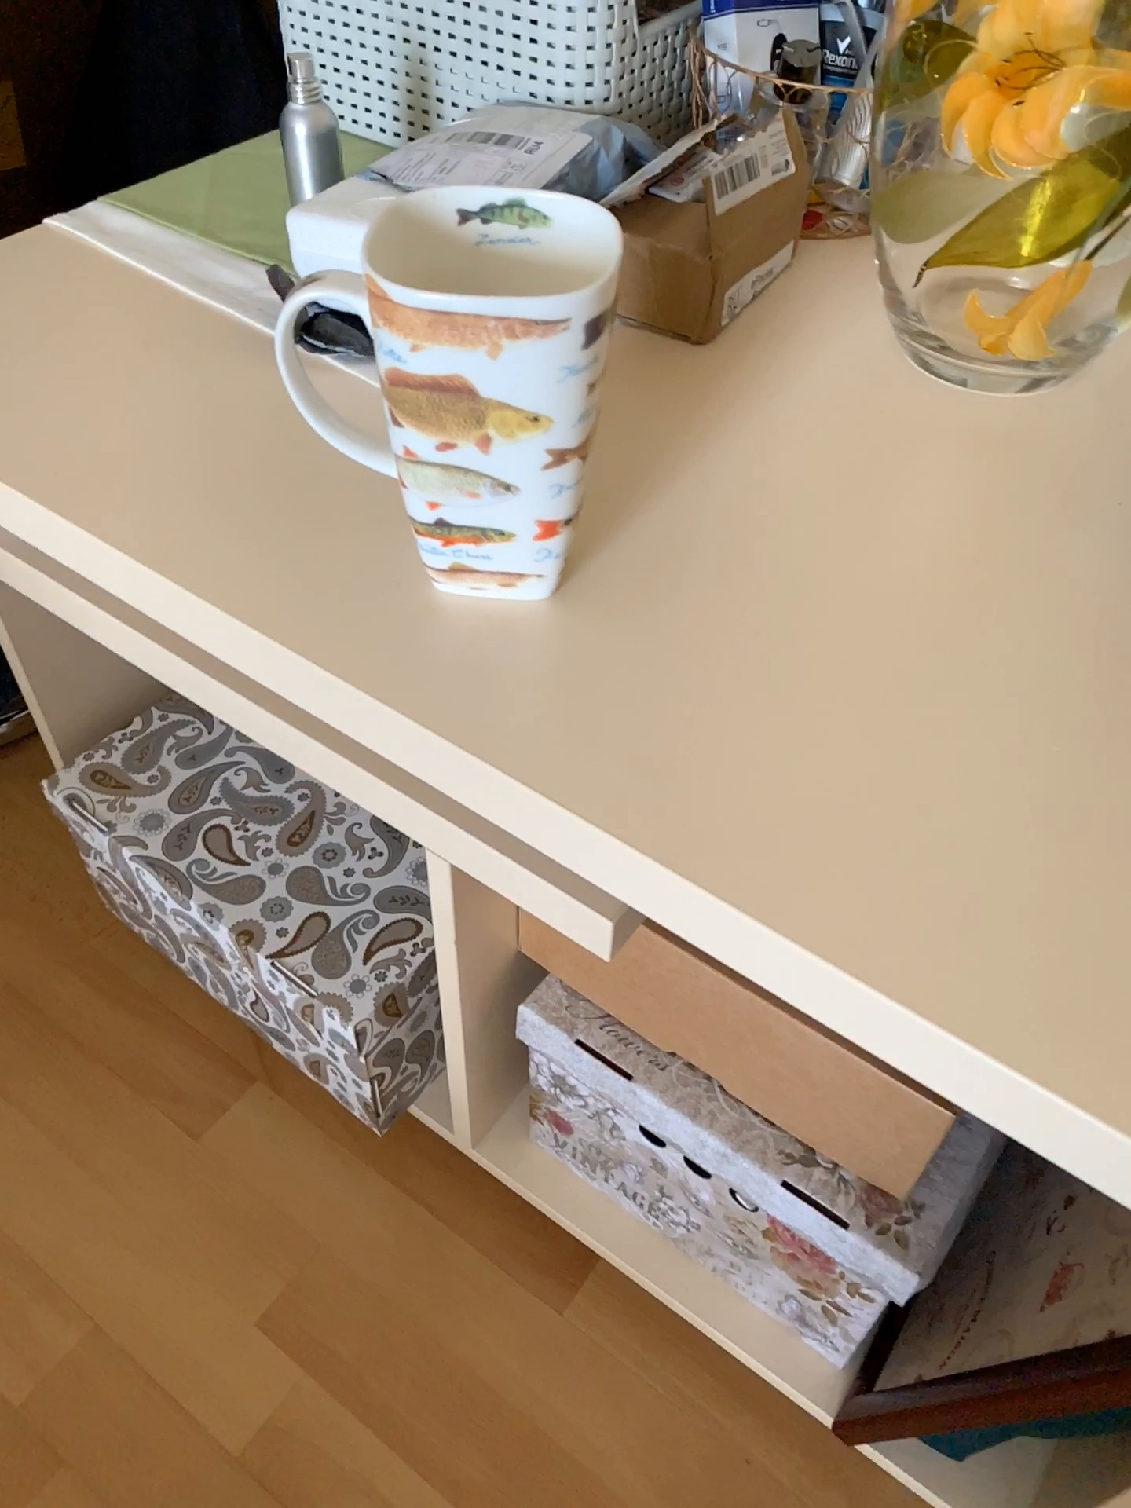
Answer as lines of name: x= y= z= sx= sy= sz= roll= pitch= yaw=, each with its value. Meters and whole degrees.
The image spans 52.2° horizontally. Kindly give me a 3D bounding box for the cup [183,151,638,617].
cup: x=-0.050 y=-0.141 z=0.448 sx=0.140 sy=0.129 sz=0.101 roll=6 pitch=47 yaw=3
